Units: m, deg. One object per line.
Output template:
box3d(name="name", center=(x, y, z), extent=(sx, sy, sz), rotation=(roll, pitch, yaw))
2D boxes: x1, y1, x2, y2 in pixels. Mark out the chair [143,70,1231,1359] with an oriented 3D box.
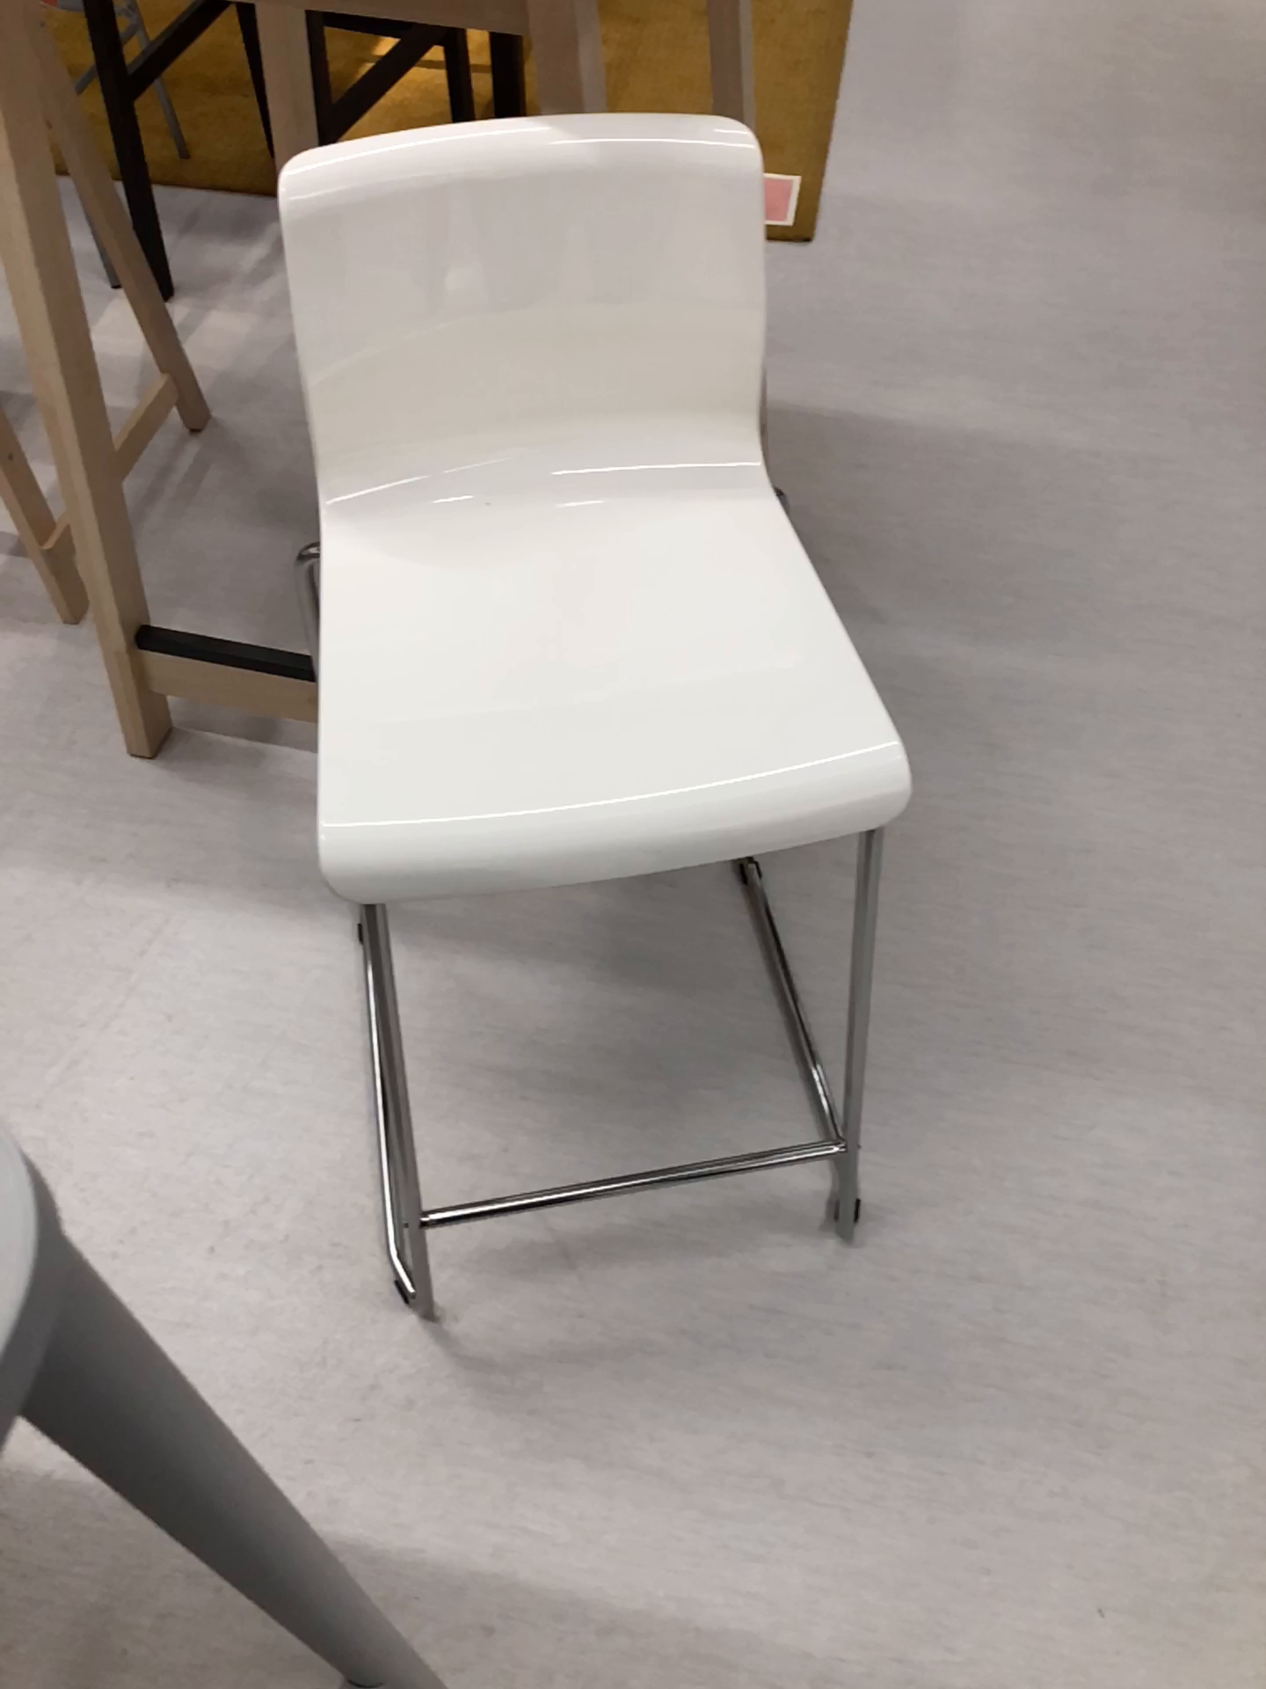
box3d(name="chair", center=(-0.023, -0.041, 1.114), extent=(0.500, 0.826, 0.553), rotation=(-10, 54, -8))
